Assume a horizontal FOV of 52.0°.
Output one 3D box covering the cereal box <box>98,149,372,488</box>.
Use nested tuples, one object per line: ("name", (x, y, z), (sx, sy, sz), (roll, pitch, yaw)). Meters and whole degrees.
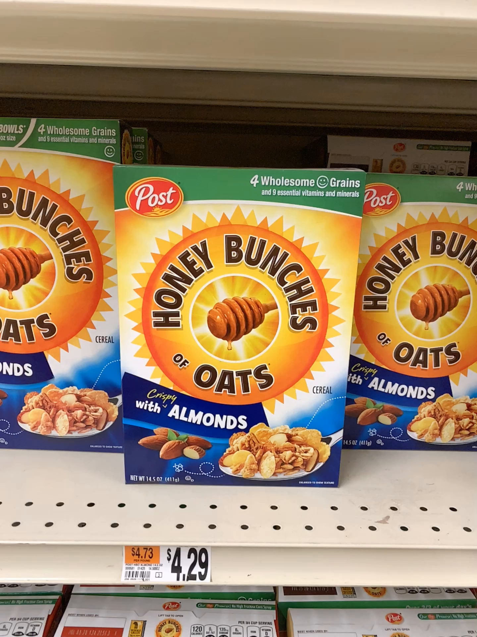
("cereal box", (-0.006, 0.005, 0.424), (0.200, 0.279, 0.060), (1, 16, 0))
